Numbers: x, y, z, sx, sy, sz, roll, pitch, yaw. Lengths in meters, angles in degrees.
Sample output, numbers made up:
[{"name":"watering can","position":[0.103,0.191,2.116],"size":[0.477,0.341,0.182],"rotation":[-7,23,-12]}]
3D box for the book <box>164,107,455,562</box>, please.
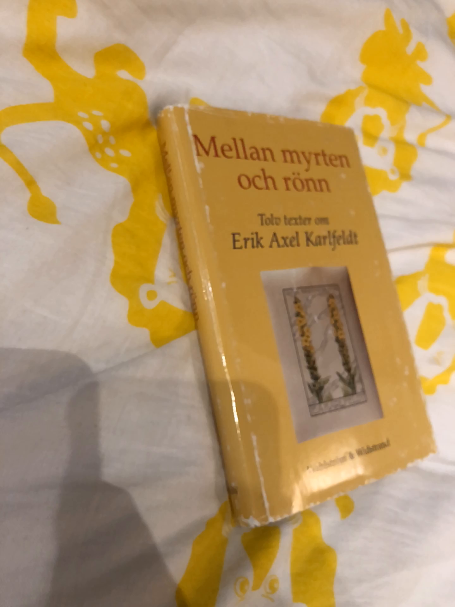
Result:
[{"name":"book","position":[0.053,0.005,0.287],"size":[0.142,0.030,0.215],"rotation":[-4,76,-33]}]
